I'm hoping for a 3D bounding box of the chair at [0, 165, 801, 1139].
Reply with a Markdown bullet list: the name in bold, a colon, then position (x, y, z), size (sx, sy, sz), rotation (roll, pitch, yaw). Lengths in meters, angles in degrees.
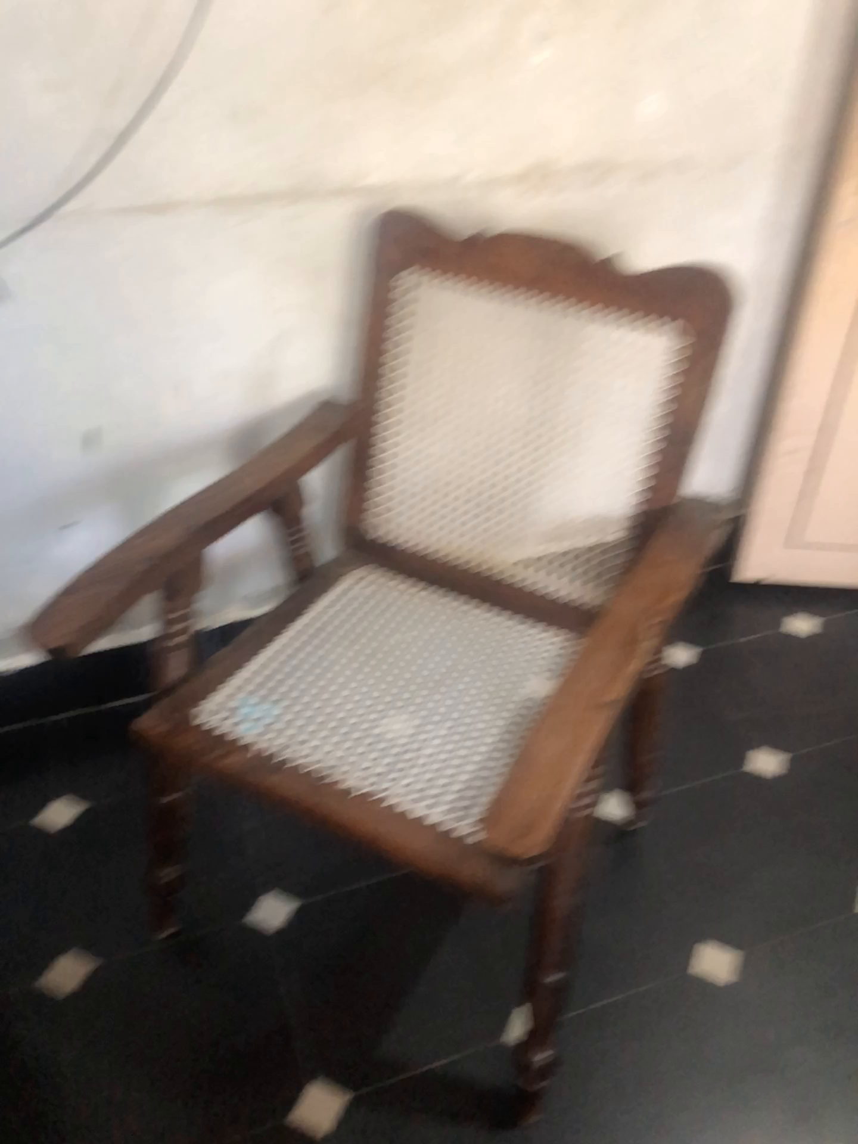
- **chair**: position (-0.019, 0.066, 1.069), size (0.580, 0.796, 0.563), rotation (17, 41, 19)
